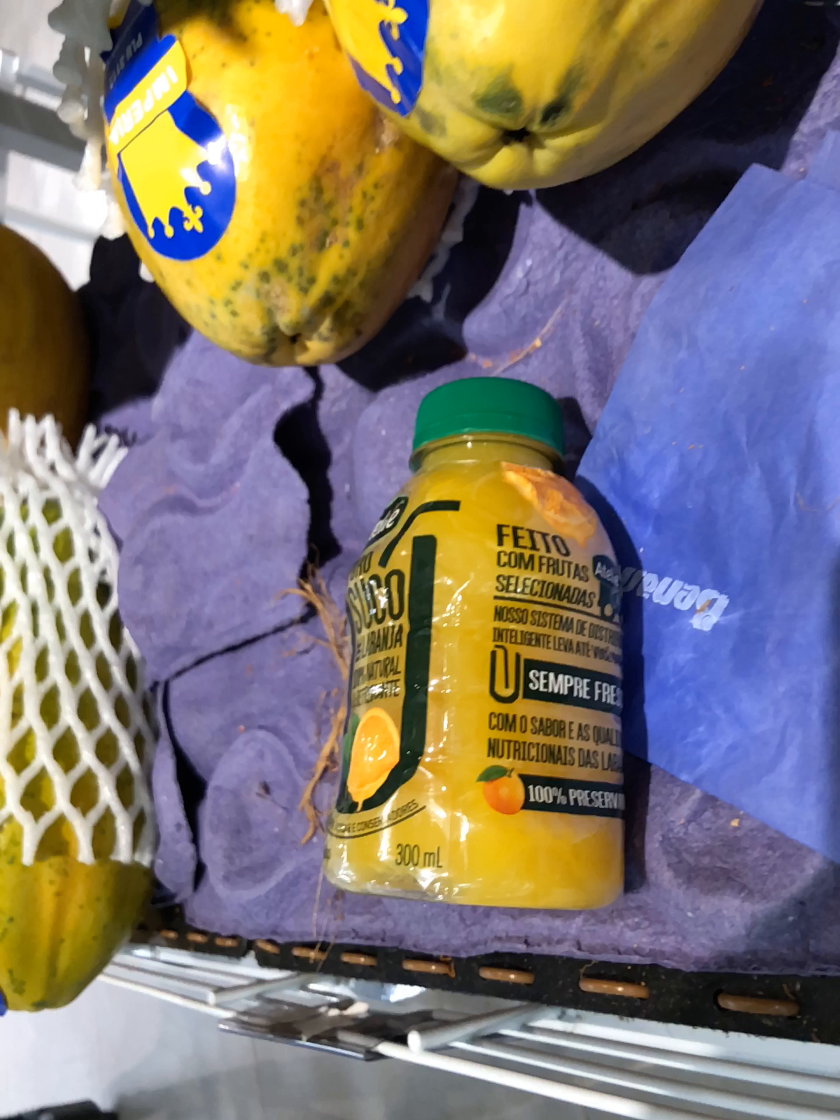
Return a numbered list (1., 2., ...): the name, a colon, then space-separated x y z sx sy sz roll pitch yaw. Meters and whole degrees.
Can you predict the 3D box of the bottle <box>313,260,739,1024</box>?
1. bottle: 0.021 0.018 0.217 0.070 0.060 0.140 -14 72 52
